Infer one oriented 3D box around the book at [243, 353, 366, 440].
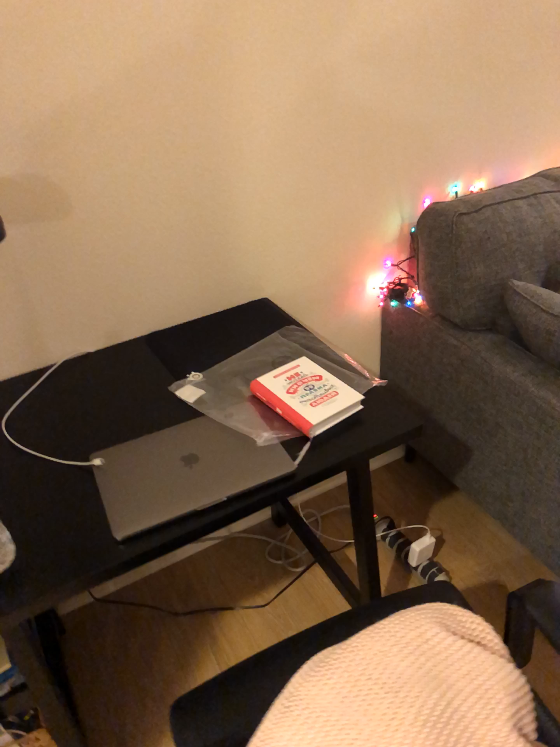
[{"bbox_3d":[0.043,0.038,1.163,0.140,0.030,0.191,-27,40,-29],"label":"book"}]
